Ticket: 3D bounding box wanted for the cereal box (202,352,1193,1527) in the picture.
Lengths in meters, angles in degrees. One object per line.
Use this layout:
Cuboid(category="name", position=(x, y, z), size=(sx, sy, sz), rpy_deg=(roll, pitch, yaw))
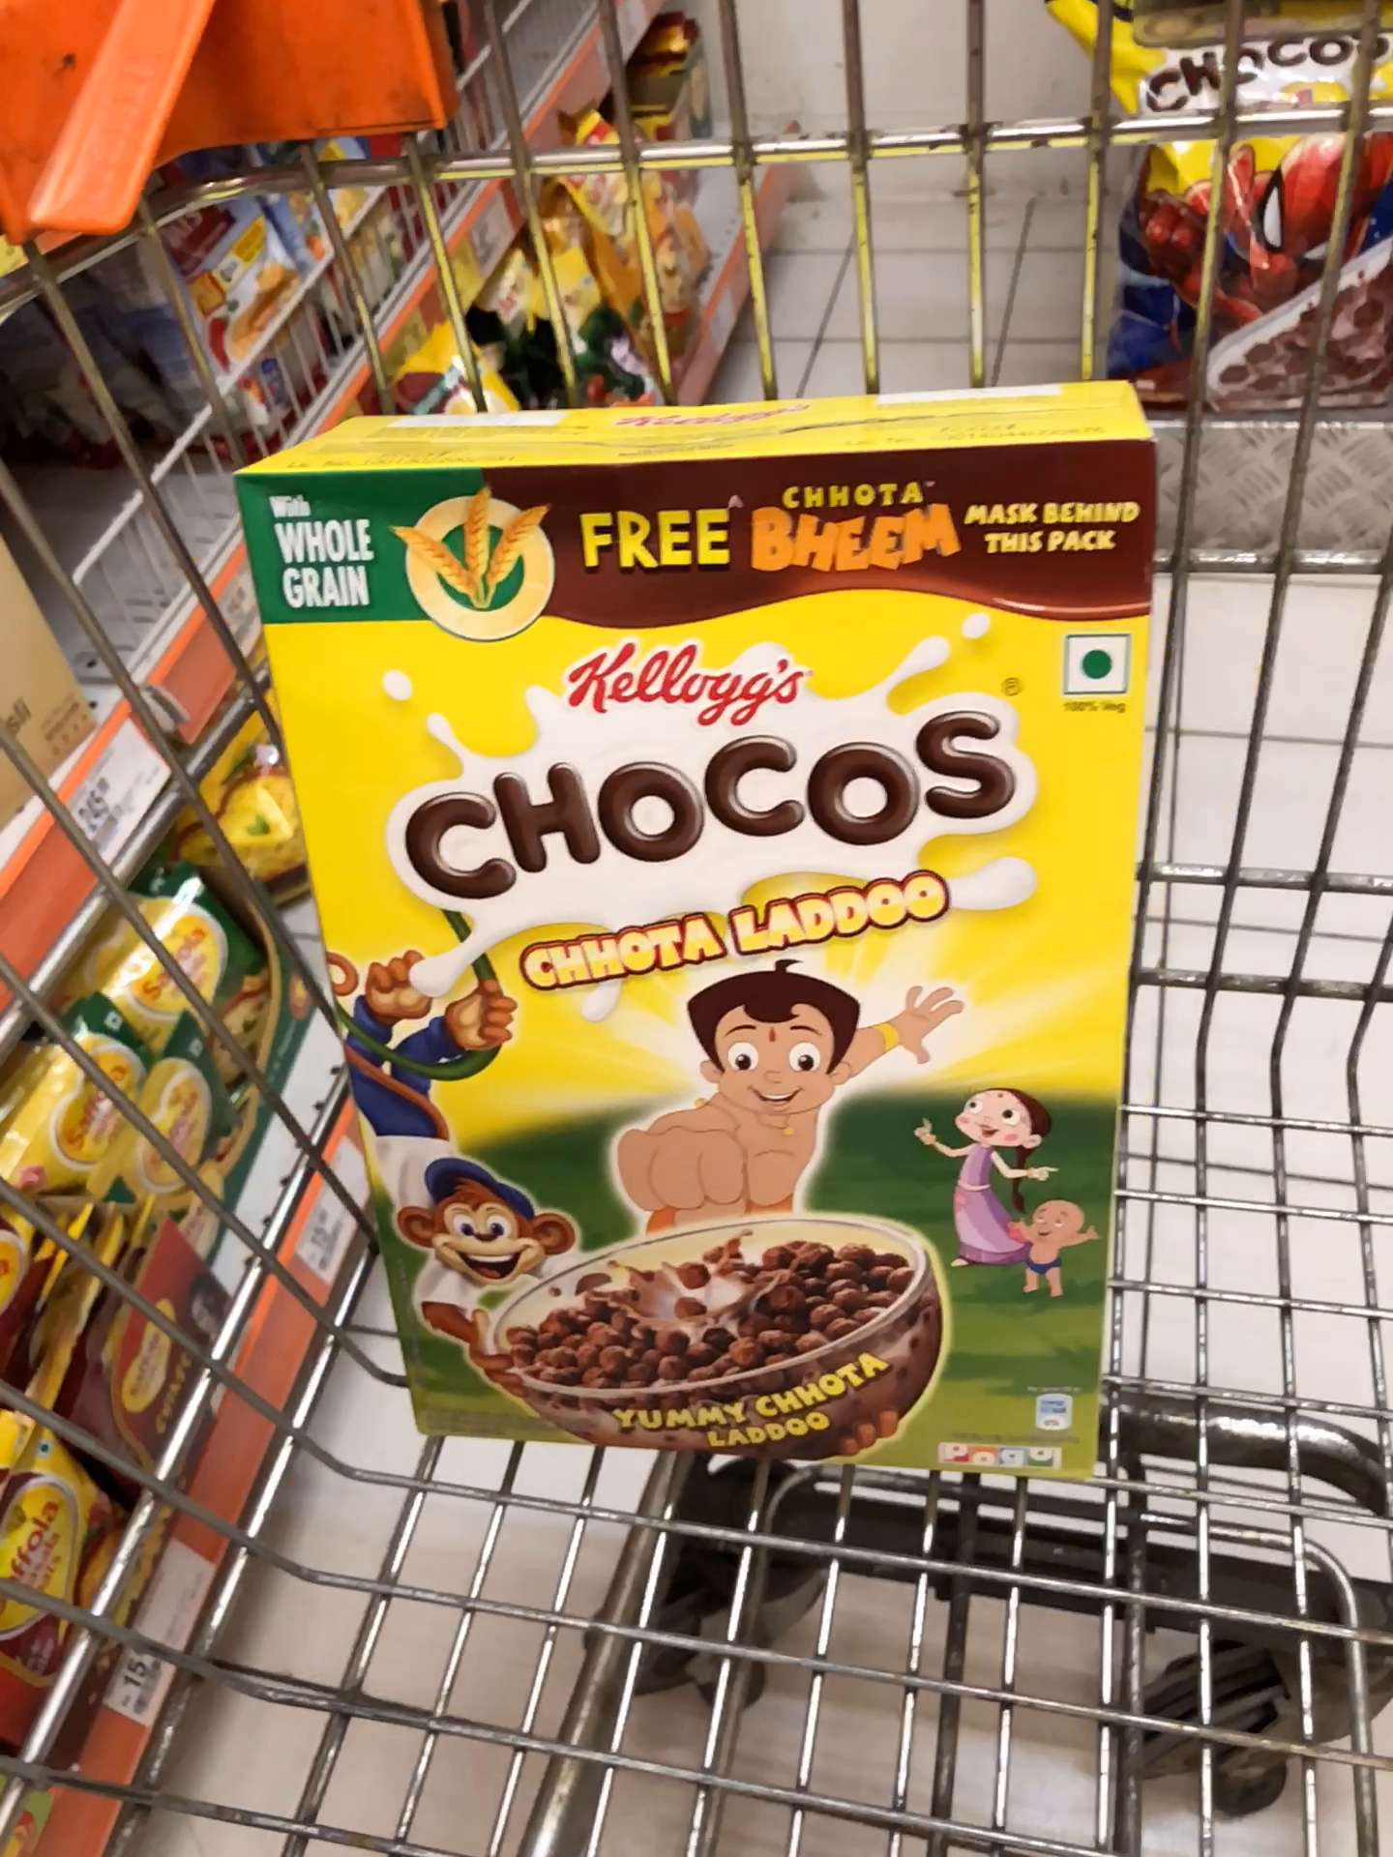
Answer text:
Cuboid(category="cereal box", position=(0.011, 0.007, 0.360), size=(0.180, 0.249, 0.080), rpy_deg=(0, 23, 11))
